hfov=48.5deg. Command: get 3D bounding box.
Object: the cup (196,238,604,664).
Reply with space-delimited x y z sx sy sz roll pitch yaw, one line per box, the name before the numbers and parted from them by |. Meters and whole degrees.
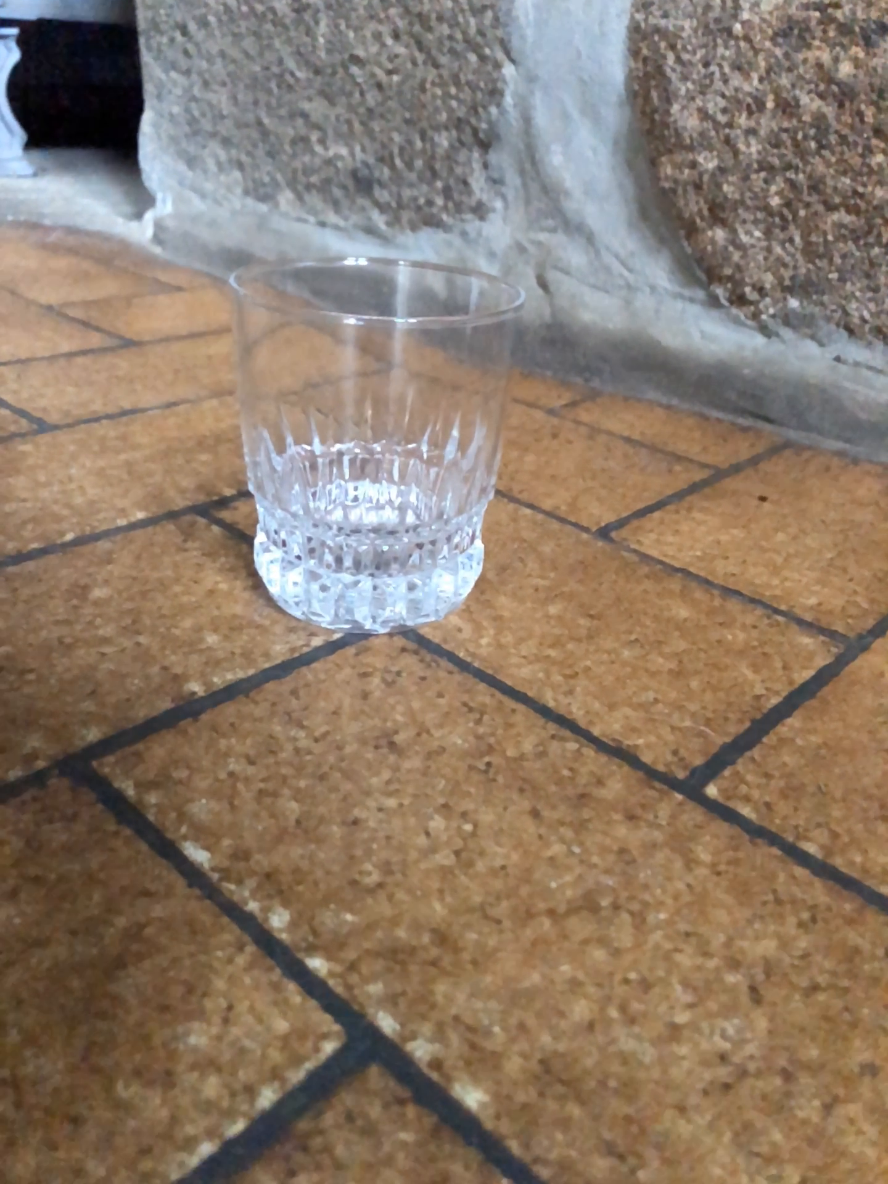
cup | -0.017 -0.046 0.280 0.080 0.089 0.080 4 28 -2
